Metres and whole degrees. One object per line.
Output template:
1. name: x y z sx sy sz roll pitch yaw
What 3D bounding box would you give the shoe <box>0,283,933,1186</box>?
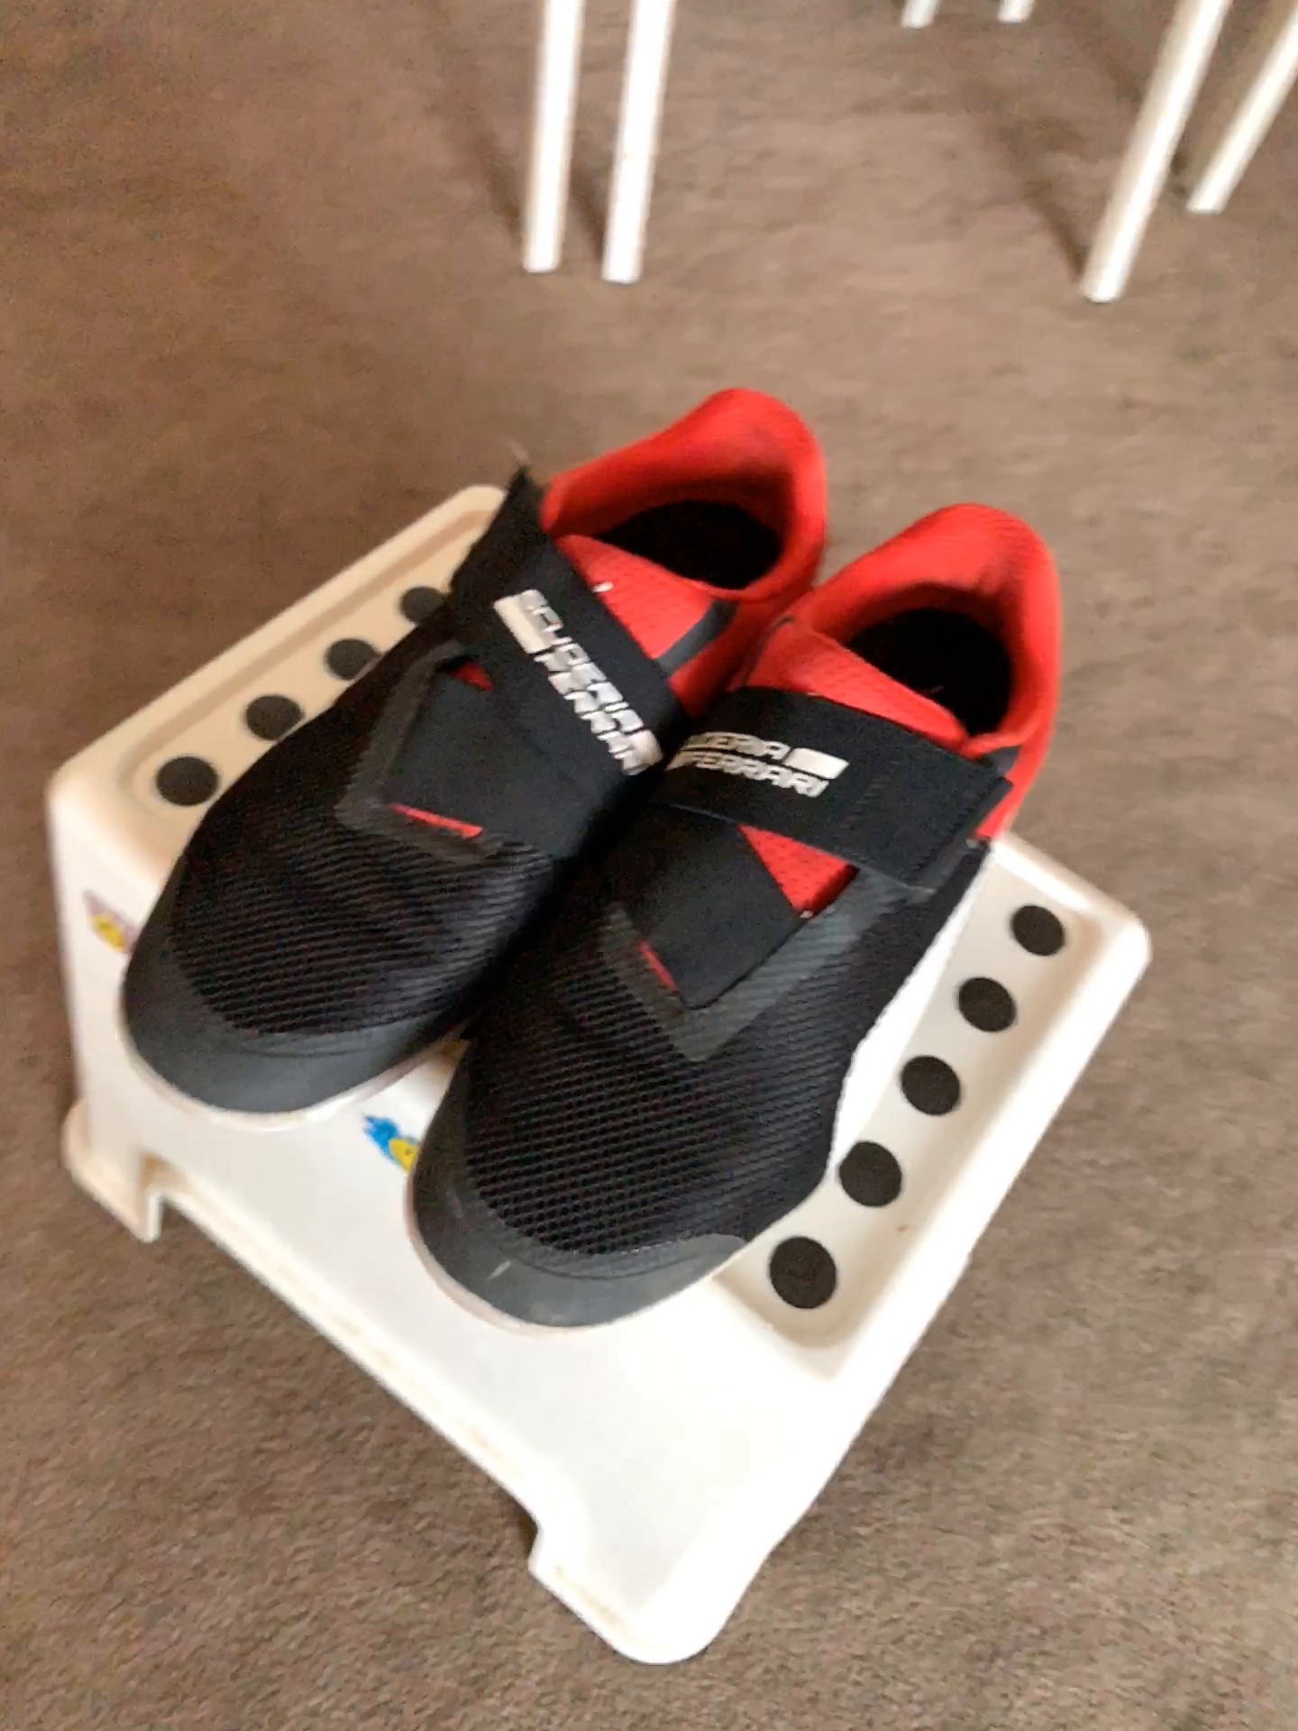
1. shoe: -0.042 -0.058 0.418 0.100 0.089 0.302 36 58 13

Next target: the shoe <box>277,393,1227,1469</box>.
1. shoe: 0.044 -0.003 0.385 0.110 0.089 0.302 33 57 11
